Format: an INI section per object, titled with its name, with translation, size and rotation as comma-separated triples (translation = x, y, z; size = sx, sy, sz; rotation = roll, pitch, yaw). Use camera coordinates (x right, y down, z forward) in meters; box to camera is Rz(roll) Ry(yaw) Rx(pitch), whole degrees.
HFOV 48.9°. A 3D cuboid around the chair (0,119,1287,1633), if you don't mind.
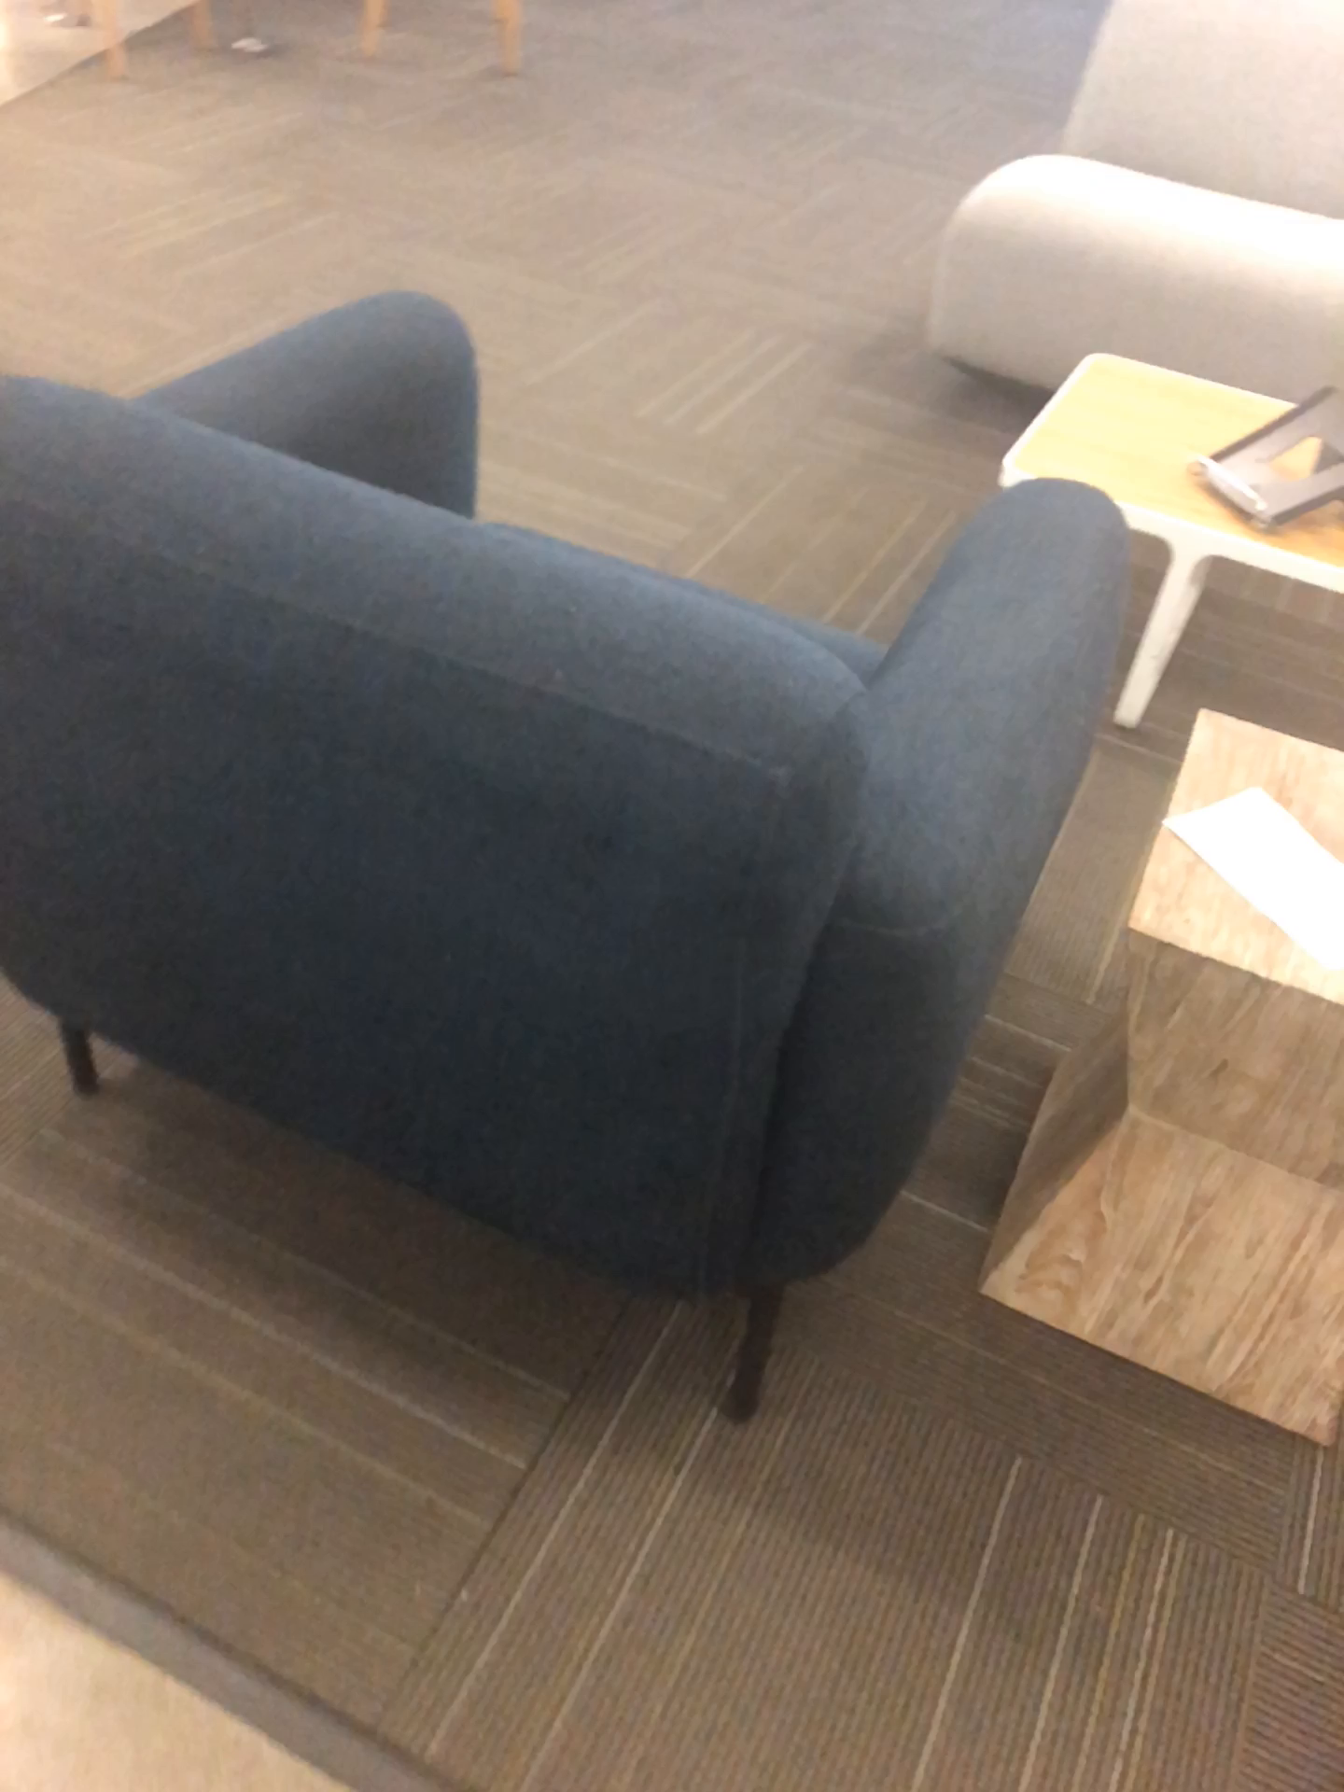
[chair]
translation = -0.105, -0.103, 1.354
size = 0.920, 0.783, 0.847
rotation = 22, 43, 16
